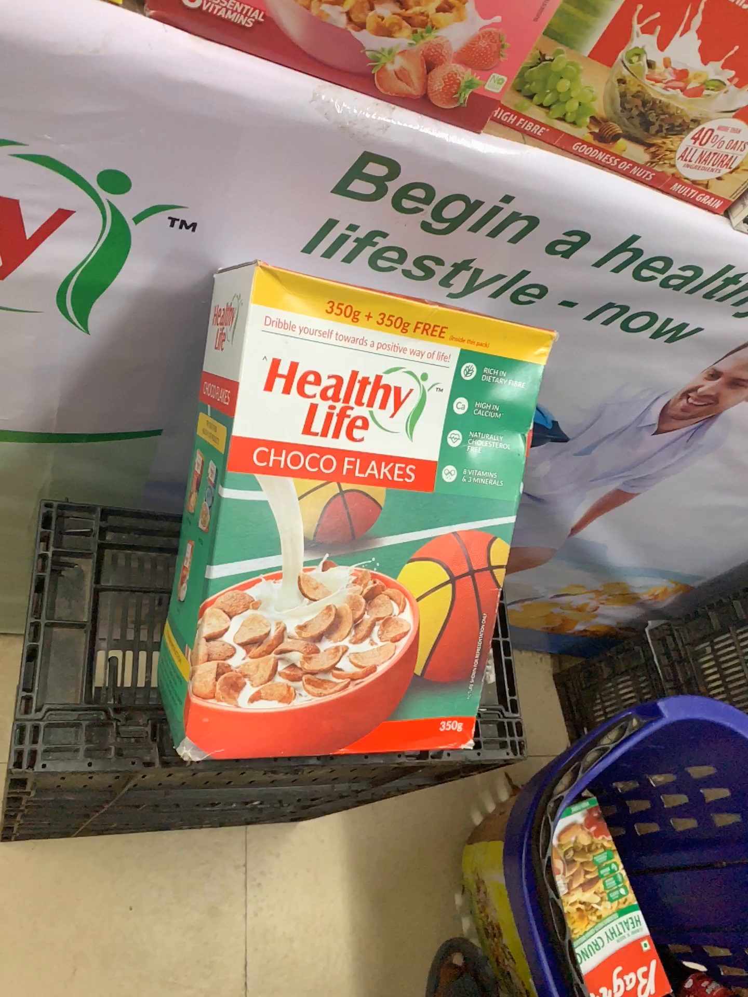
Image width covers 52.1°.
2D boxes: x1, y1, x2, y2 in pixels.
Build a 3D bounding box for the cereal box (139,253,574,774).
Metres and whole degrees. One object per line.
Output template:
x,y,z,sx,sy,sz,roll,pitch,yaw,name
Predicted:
-0.017,0.015,0.480,0.210,0.090,0.280,6,101,-24,cereal box
